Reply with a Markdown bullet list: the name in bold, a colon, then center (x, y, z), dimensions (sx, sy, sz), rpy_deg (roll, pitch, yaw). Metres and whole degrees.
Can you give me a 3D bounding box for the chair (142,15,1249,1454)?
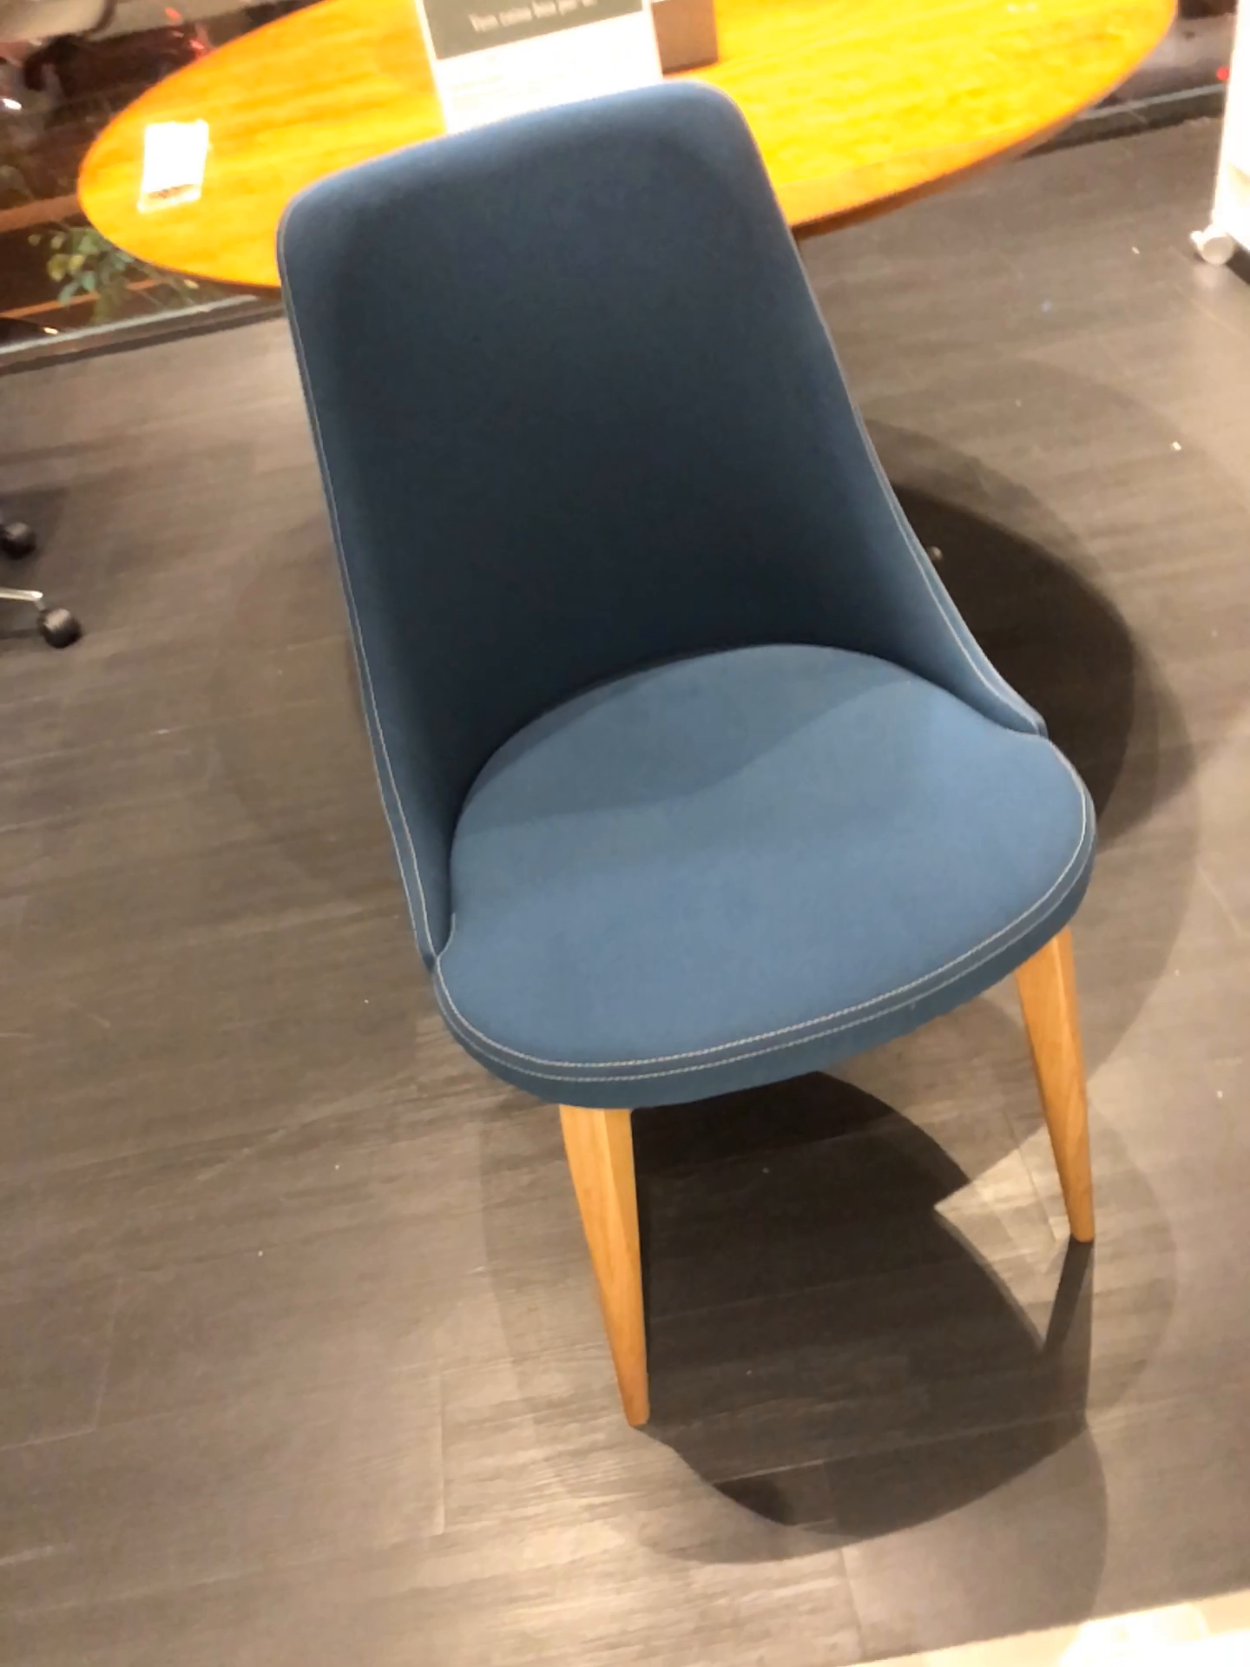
- **chair**: center (0.064, -0.045, 1.076), dimensions (0.520, 0.853, 0.544), rpy_deg (-19, 43, -7)
